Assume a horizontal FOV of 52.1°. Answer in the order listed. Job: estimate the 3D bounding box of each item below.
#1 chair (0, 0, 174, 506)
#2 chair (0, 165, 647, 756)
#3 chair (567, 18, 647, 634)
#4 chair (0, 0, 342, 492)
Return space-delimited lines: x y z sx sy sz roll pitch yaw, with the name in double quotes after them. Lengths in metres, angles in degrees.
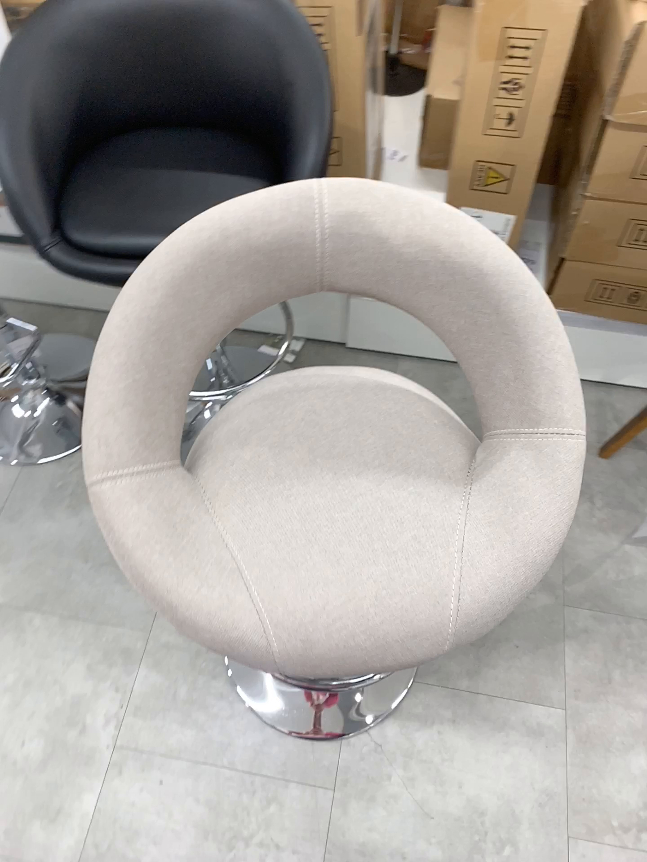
-0.758 -0.370 1.343 0.534 1.010 0.486 22 61 13 "chair"
0.003 0.173 1.011 0.484 0.980 0.467 2 58 1 "chair"
0.945 -0.114 1.264 0.534 0.911 0.577 22 61 13 "chair"
-0.226 -0.316 1.335 0.494 0.941 0.487 2 58 1 "chair"
